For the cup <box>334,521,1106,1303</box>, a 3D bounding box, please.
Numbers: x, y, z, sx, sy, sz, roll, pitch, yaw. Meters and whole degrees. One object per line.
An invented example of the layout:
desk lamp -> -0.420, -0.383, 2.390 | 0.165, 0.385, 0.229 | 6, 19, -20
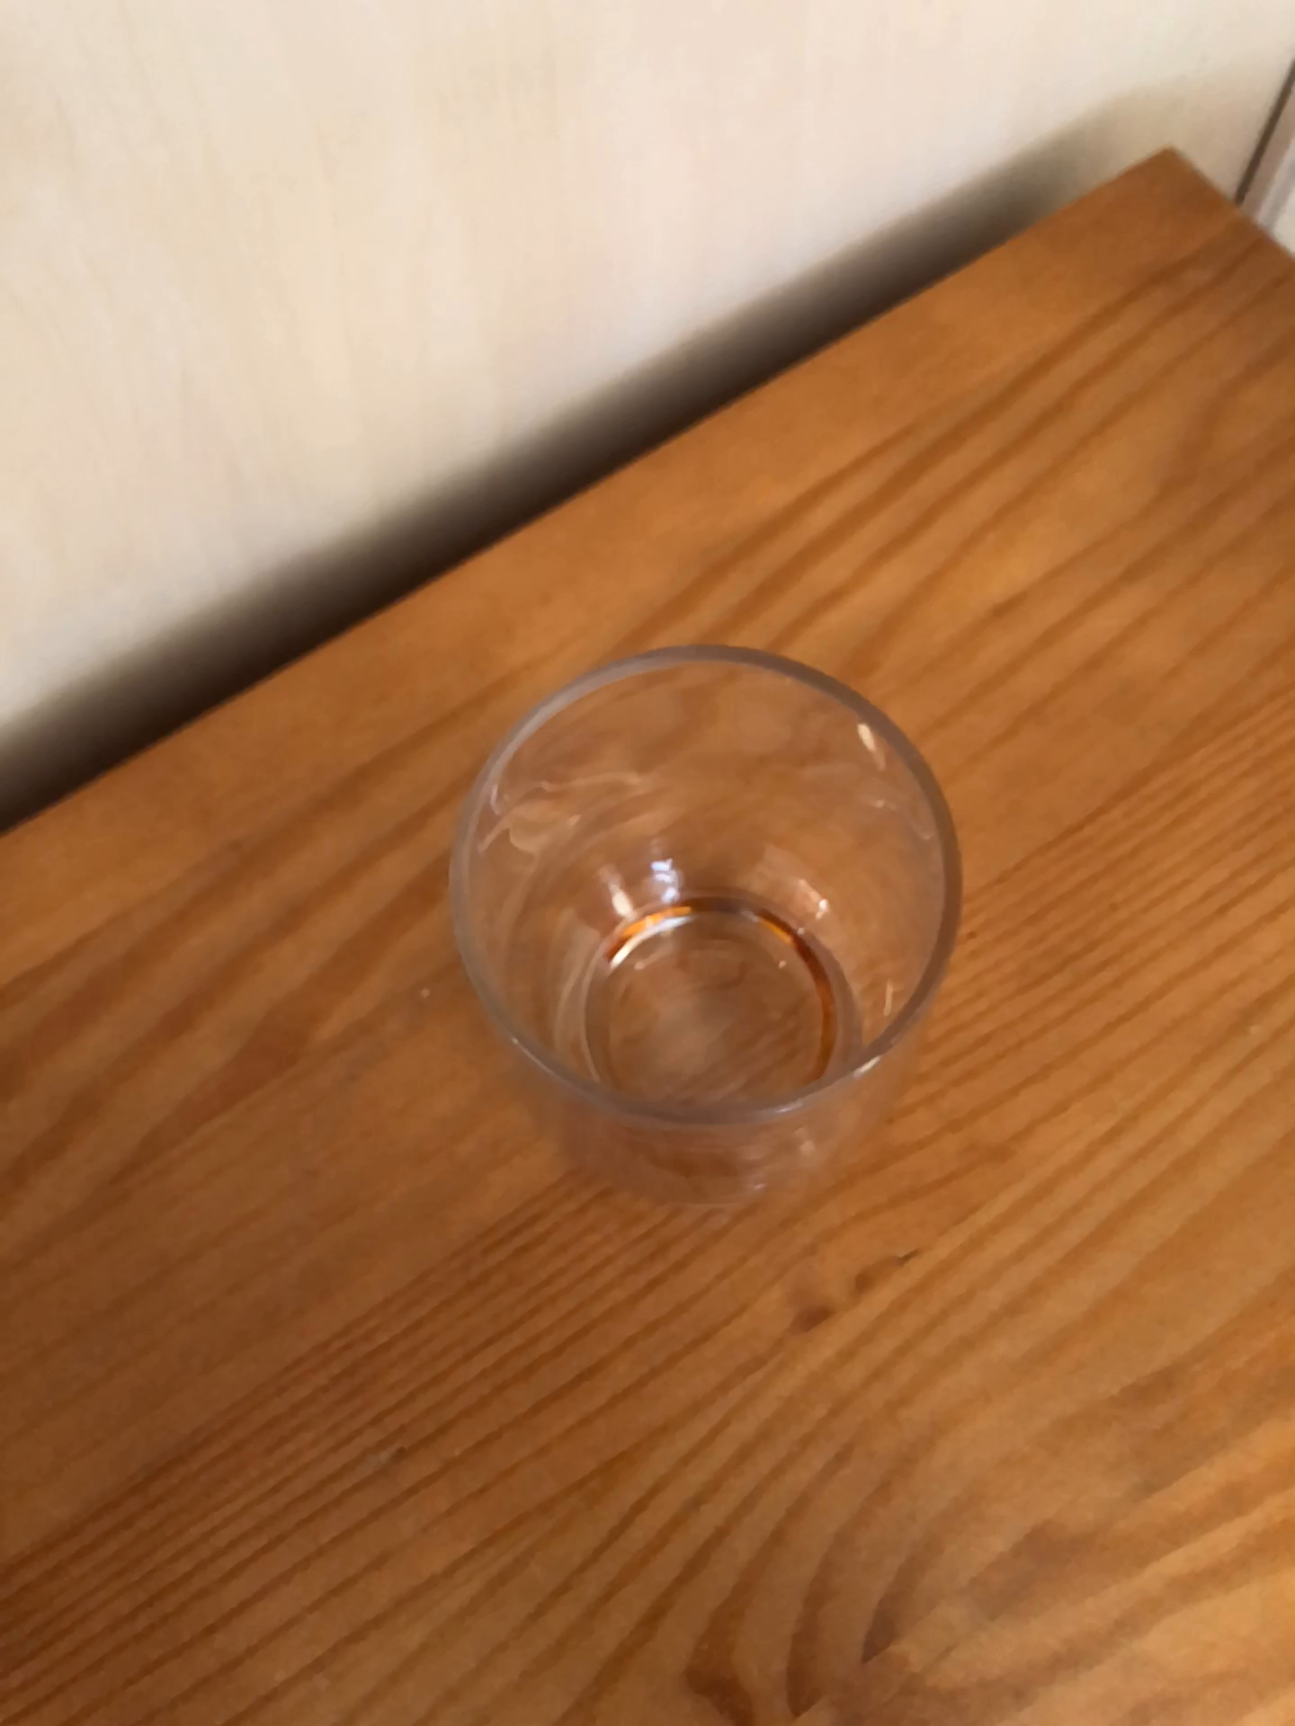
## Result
cup -> 0.012, 0.015, 0.242 | 0.076, 0.100, 0.073 | -1, 69, 2
